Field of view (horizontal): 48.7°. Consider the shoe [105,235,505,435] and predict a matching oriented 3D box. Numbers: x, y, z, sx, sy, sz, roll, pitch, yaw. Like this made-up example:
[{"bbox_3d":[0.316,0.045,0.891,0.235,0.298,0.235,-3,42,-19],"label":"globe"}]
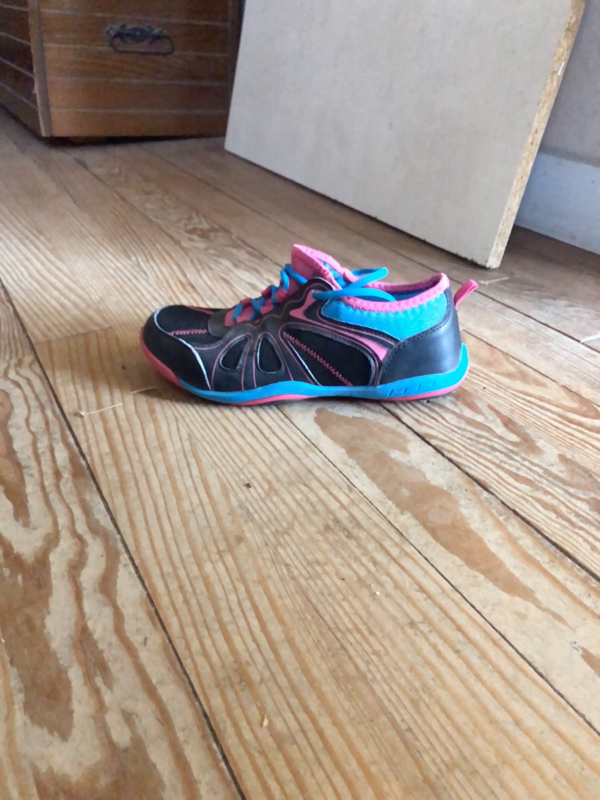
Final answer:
[{"bbox_3d":[0.006,-0.054,0.502,0.260,0.099,0.111,3,33,5],"label":"shoe"}]
